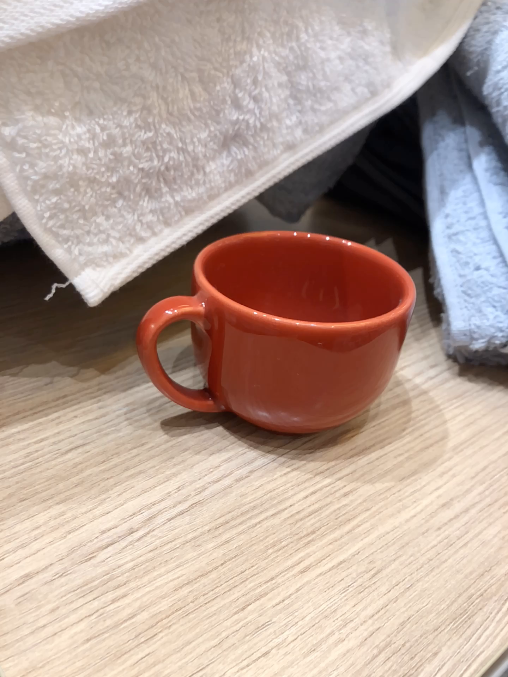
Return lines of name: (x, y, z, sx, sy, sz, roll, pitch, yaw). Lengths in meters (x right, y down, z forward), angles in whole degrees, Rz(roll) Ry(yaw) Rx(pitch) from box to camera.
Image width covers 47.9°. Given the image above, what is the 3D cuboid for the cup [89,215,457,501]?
cup: (0.003, -0.003, 0.210, 0.100, 0.050, 0.080, -14, 36, -30)
